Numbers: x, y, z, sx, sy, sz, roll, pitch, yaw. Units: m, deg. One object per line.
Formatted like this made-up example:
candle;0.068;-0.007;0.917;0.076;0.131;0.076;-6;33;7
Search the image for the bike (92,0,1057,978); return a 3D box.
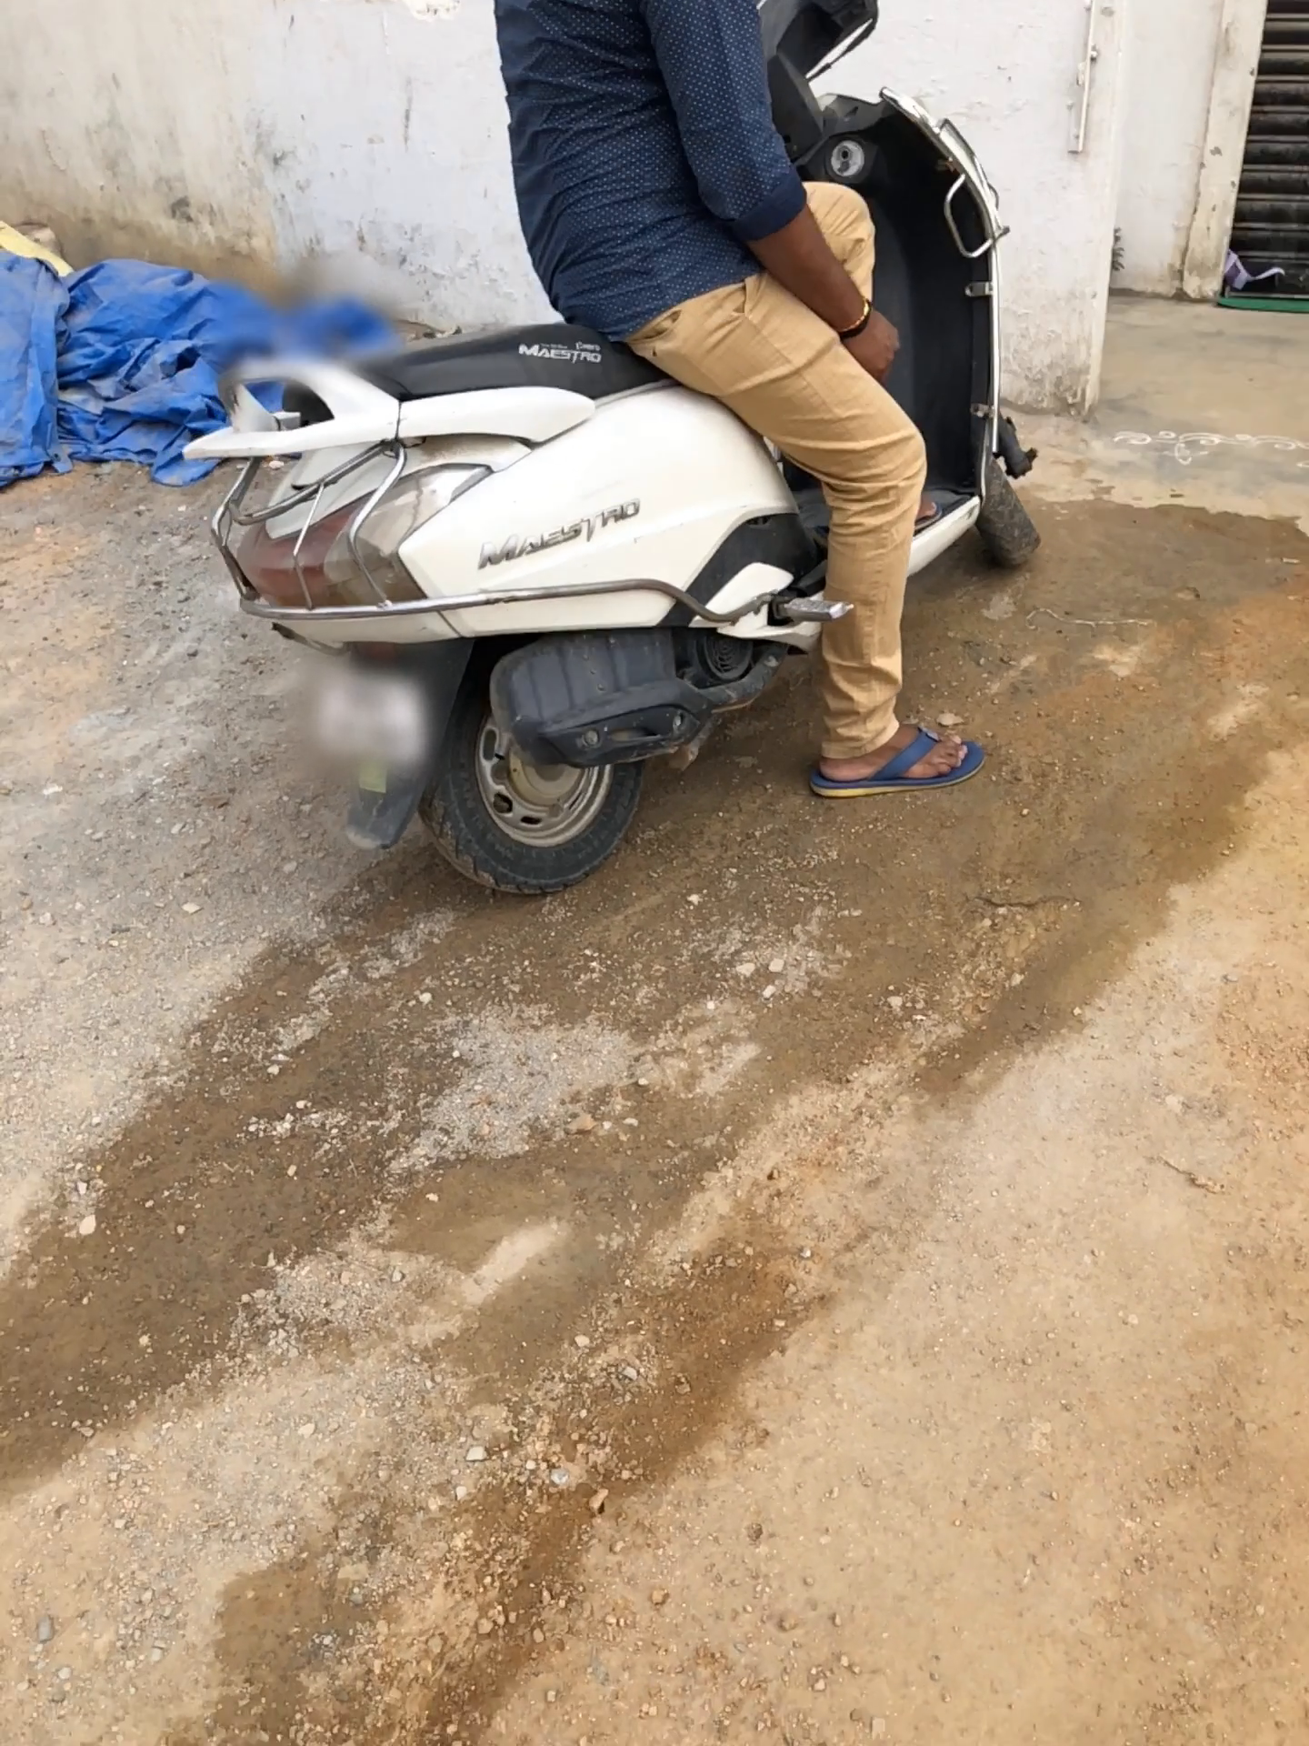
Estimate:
bike;0.011;-0.927;2.359;0.600;1.231;1.563;19;44;30
